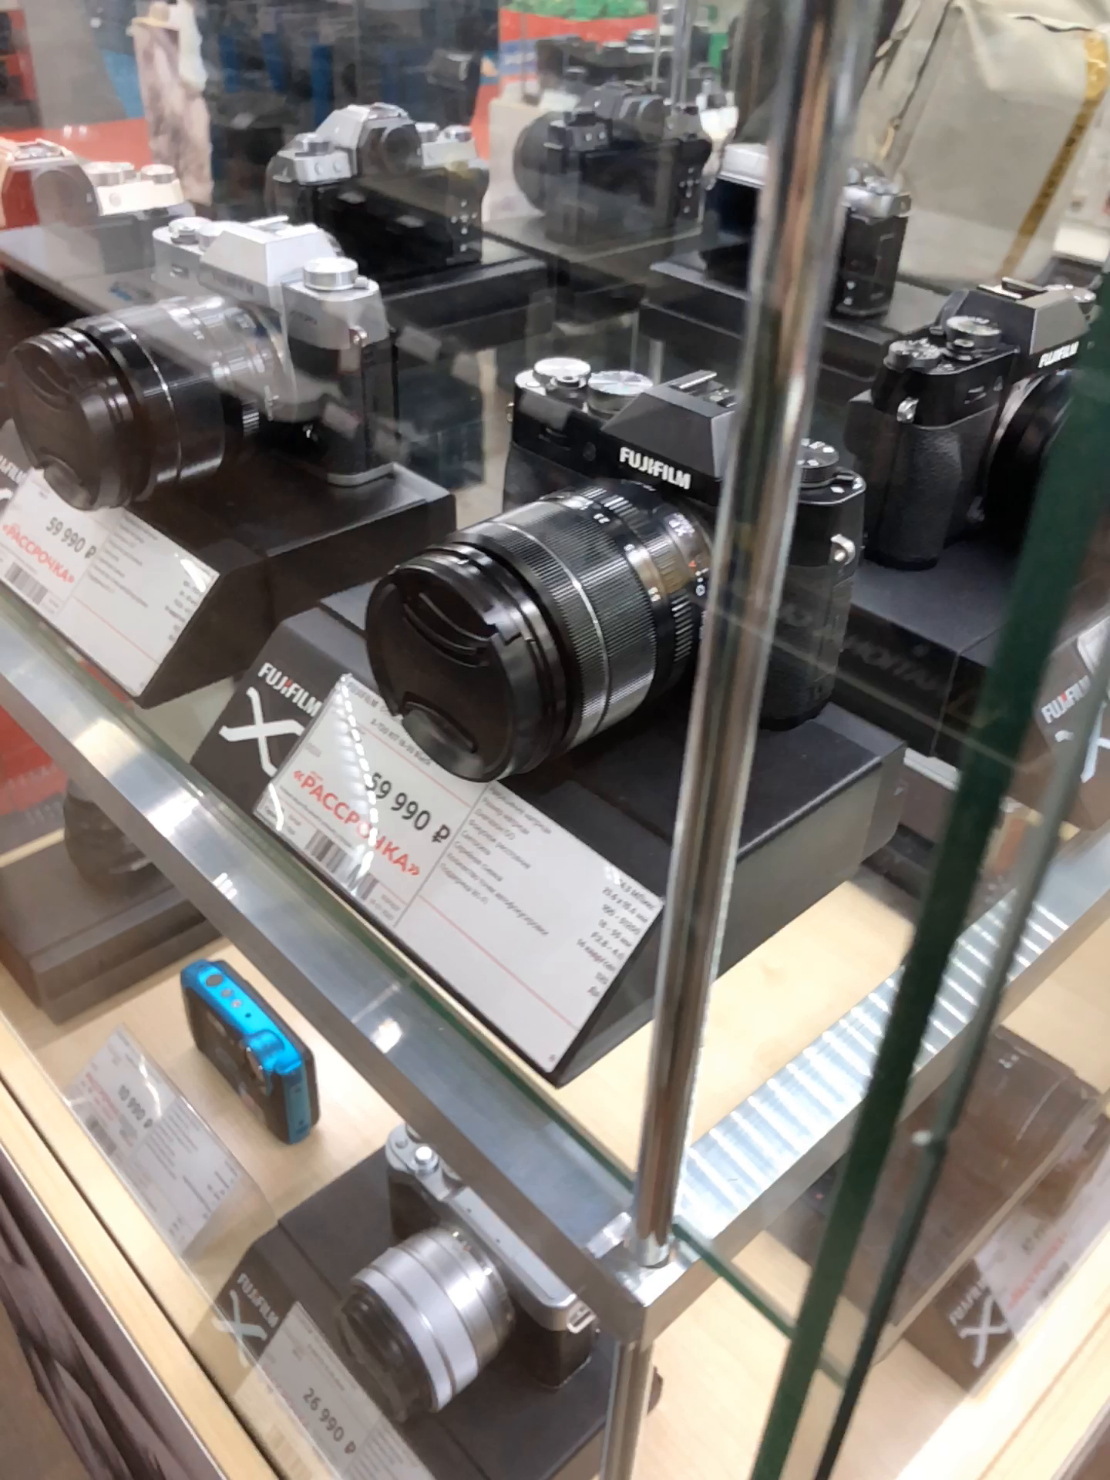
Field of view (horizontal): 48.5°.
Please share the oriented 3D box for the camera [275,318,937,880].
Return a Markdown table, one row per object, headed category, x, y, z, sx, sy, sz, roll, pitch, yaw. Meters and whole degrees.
| category | x | y | z | sx | sy | sz | roll | pitch | yaw |
| --- | --- | --- | --- | --- | --- | --- | --- | --- | --- |
| camera | 0.012 | -0.050 | 0.341 | 0.121 | 0.081 | 0.121 | -28 | 46 | -36 |
